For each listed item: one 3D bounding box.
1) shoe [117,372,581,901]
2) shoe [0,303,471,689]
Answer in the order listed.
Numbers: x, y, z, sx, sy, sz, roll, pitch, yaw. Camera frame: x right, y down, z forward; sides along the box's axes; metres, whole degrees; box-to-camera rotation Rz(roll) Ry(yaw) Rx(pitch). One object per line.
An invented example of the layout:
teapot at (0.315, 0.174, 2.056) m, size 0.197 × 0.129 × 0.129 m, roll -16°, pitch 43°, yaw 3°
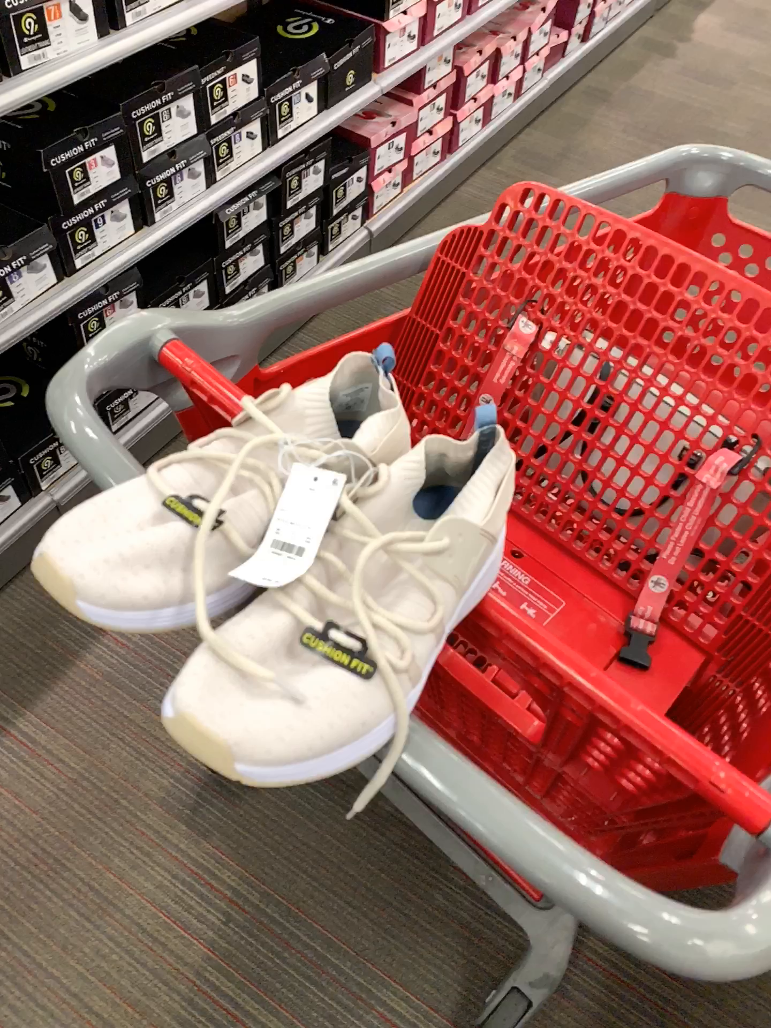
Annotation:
shoe at (-0.004, 0.042, 0.439) m, size 0.110 × 0.110 × 0.281 m, roll 28°, pitch 42°, yaw 15°
shoe at (-0.084, -0.031, 0.492) m, size 0.110 × 0.110 × 0.280 m, roll 38°, pitch 42°, yaw 21°
